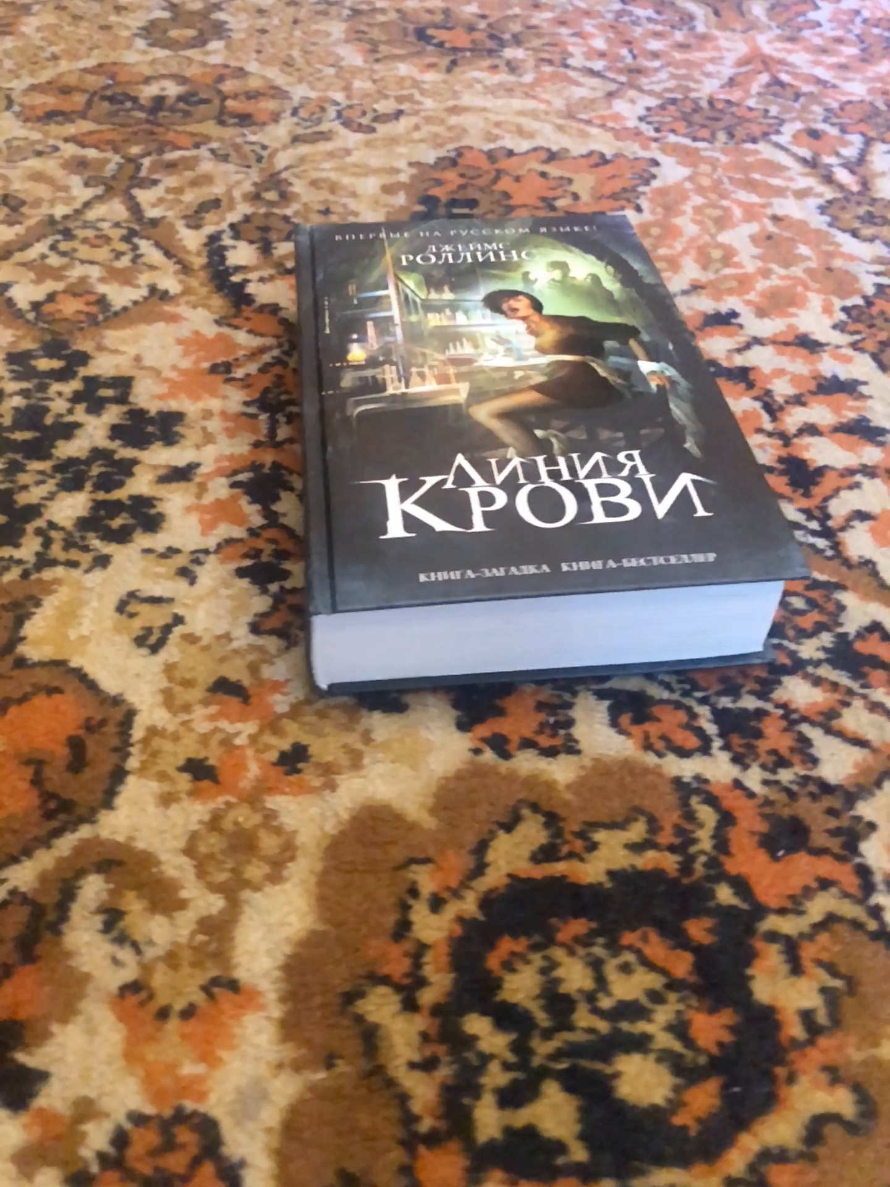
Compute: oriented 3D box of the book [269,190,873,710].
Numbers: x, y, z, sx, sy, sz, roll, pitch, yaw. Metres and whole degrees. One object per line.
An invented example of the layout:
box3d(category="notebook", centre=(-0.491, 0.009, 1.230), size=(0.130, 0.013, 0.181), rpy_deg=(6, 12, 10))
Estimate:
box3d(category="book", centre=(0.021, -0.069, 0.348), size=(0.159, 0.040, 0.227), rpy_deg=(-4, 47, -6))
